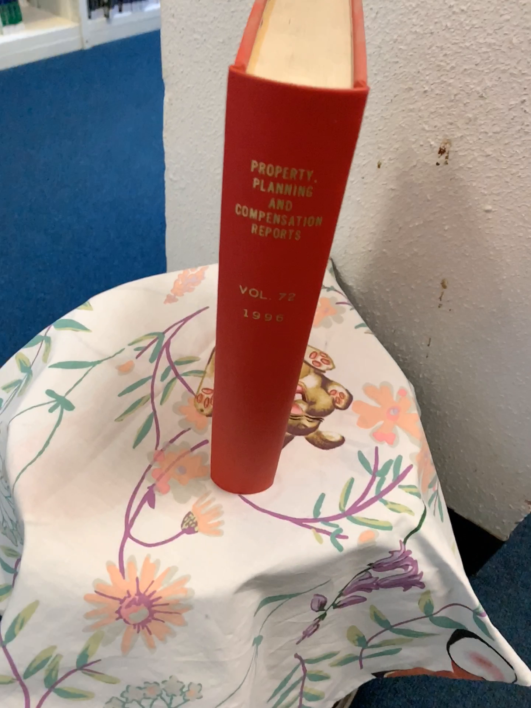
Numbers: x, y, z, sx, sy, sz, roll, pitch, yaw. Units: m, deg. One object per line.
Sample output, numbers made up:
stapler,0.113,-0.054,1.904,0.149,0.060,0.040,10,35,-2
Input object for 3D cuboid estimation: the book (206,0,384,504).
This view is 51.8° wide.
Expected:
book,0.008,-0.057,0.306,0.050,0.246,0.169,8,45,1
